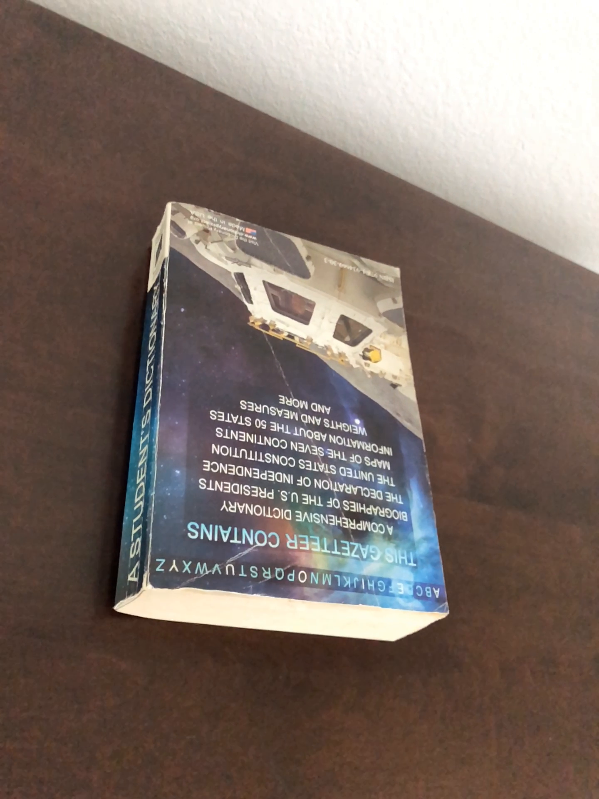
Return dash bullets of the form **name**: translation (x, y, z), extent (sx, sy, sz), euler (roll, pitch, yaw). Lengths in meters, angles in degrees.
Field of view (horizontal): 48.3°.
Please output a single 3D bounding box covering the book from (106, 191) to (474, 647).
- **book**: translation (-0.003, 0.006, 0.313), extent (0.140, 0.040, 0.196), euler (12, 57, -21)
